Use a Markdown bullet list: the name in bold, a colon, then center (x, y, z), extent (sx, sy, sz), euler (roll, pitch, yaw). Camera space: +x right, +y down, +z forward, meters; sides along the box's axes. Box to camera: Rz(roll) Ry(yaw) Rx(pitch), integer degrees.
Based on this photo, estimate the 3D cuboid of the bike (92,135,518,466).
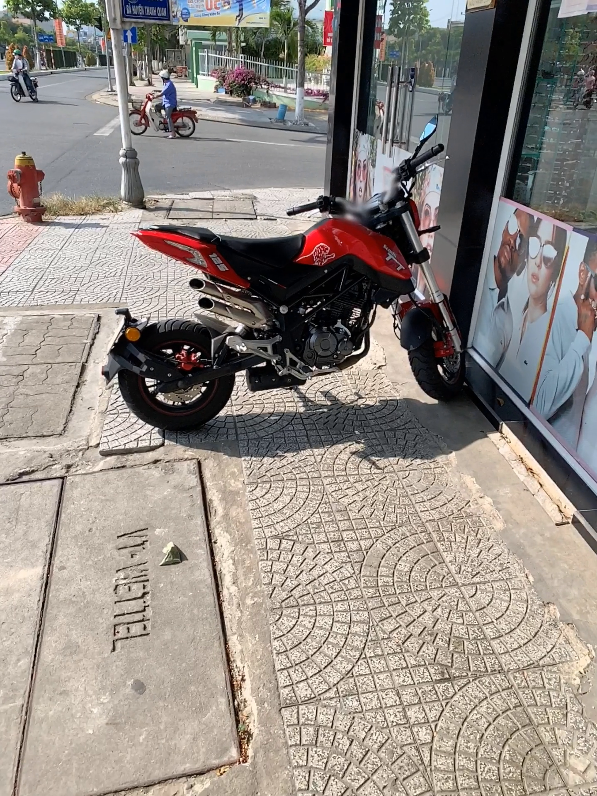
- **bike**: center (0.085, -0.668, 3.189), extent (2.122, 1.216, 0.835), euler (-13, 31, -27)
